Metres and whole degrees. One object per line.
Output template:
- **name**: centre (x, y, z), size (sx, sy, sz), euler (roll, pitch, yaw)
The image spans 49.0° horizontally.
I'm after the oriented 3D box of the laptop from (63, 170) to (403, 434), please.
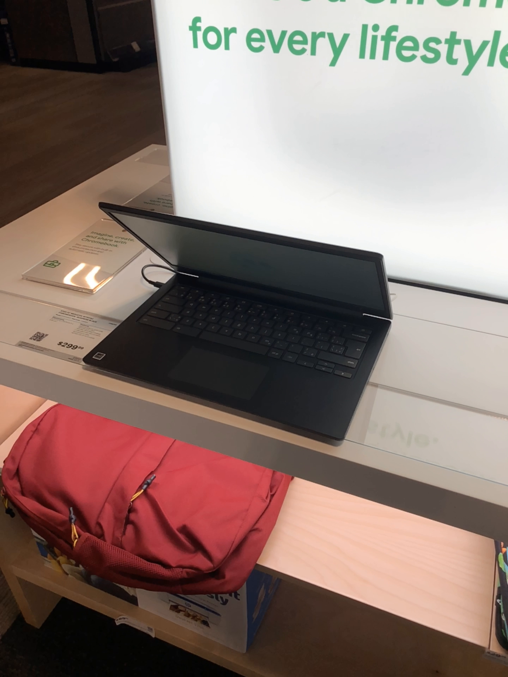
- **laptop**: centre (-0.014, -0.062, 0.649), size (0.307, 0.157, 0.214), euler (14, 40, 20)
